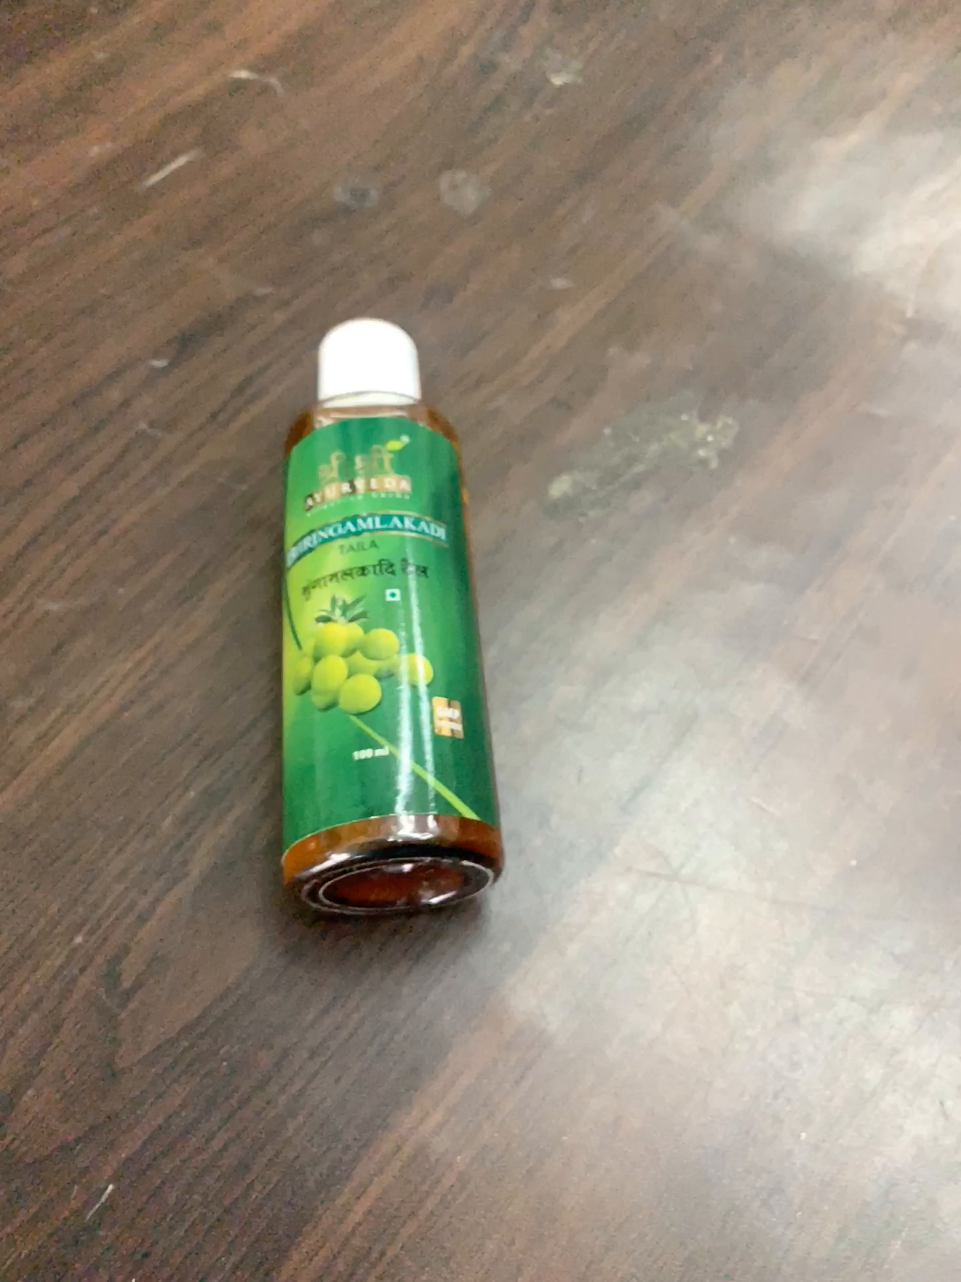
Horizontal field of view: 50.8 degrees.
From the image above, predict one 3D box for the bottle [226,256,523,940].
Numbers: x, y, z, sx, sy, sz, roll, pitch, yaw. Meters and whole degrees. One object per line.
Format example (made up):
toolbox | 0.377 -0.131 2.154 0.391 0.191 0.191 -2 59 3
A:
bottle | -0.019 -0.012 0.188 0.040 0.040 0.120 -7 60 2
